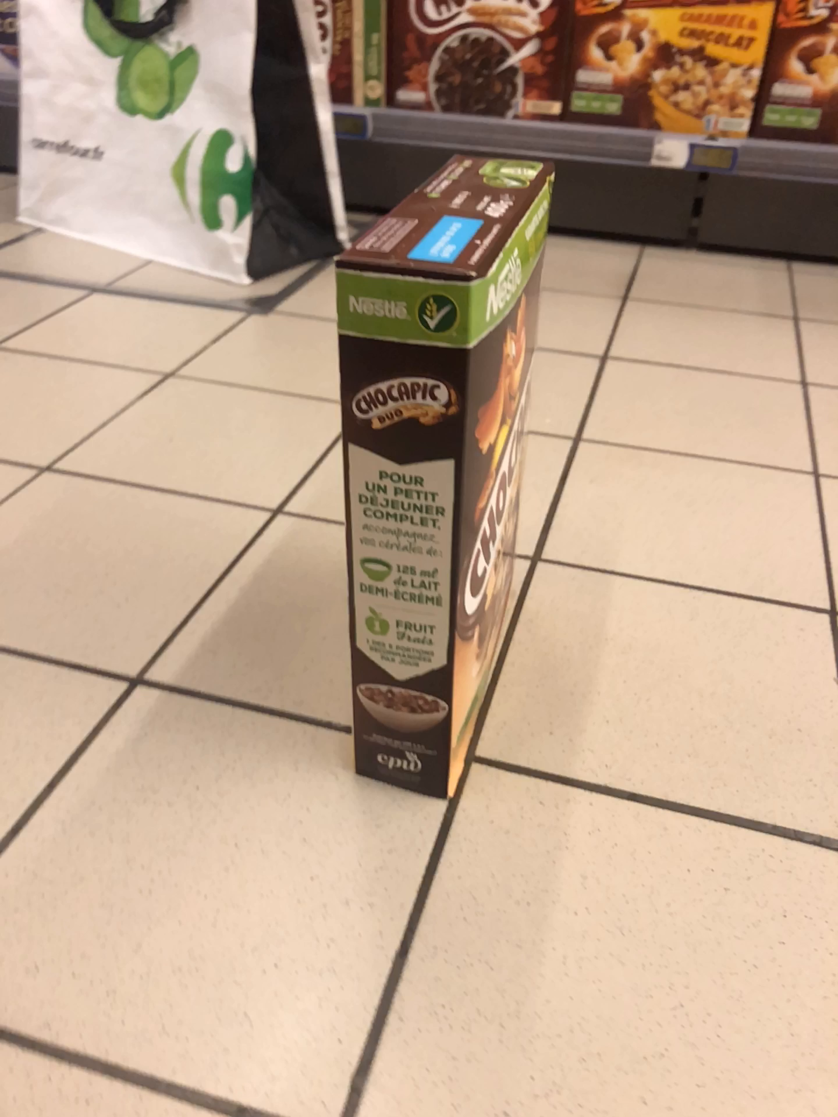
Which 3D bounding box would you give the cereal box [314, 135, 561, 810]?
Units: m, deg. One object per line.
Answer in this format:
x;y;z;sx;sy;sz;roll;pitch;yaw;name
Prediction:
0.017;-0.049;0.476;0.060;0.278;0.201;8;34;12;cereal box
